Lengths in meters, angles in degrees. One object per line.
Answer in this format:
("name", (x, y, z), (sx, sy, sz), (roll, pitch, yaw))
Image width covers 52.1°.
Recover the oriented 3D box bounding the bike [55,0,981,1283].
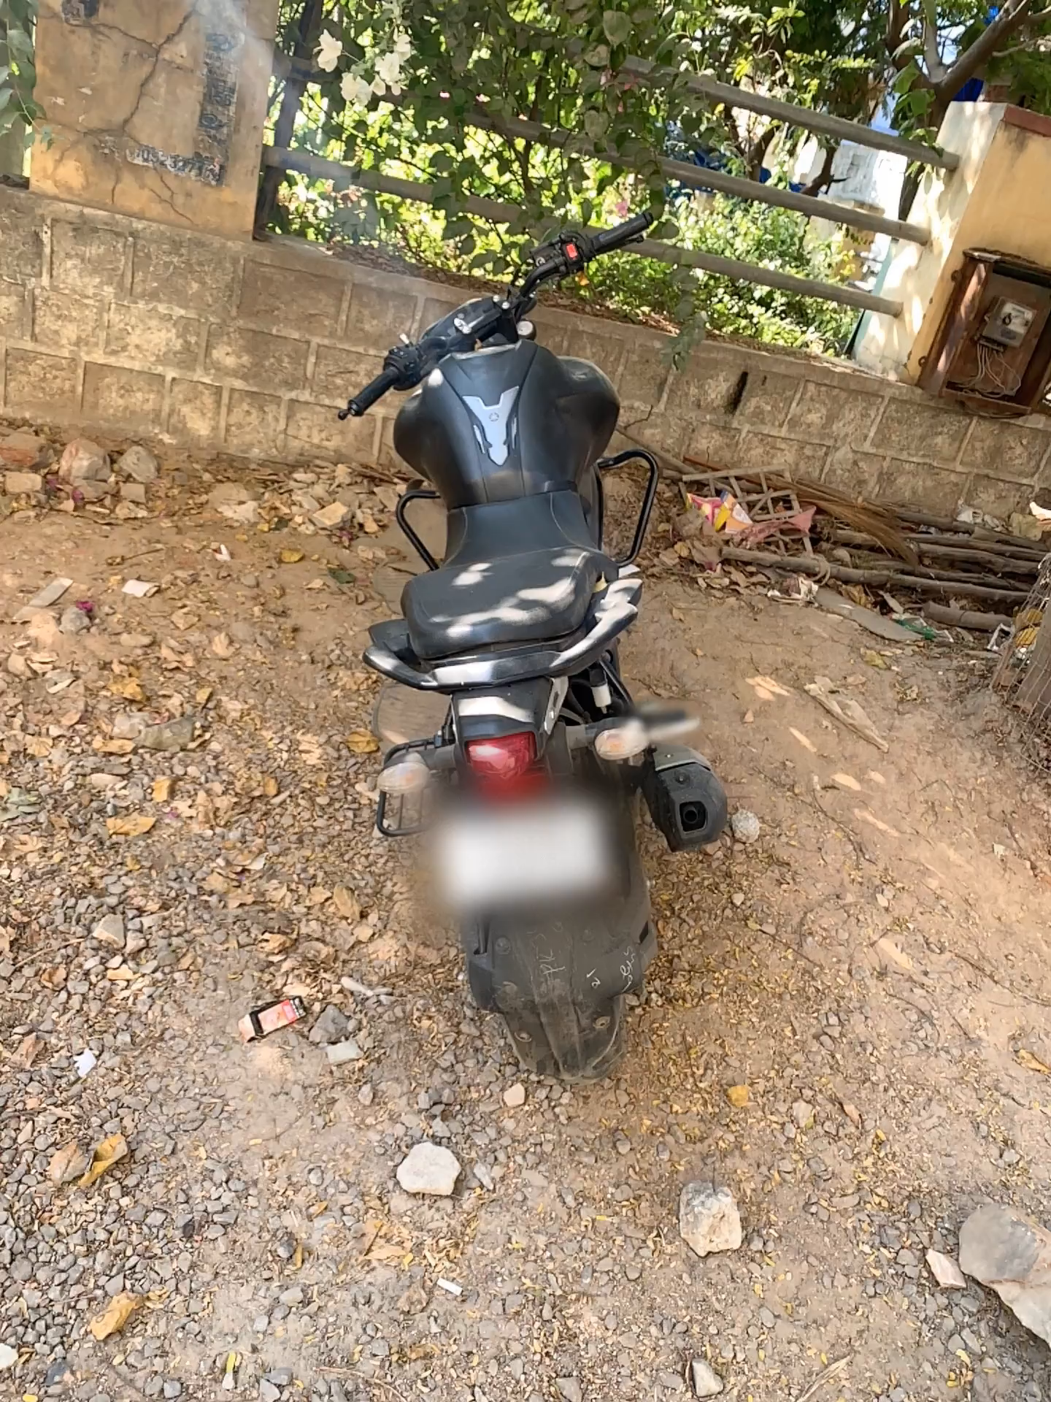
("bike", (-0.212, -0.309, 2.036), (0.818, 1.499, 1.763), (9, 31, -13))
